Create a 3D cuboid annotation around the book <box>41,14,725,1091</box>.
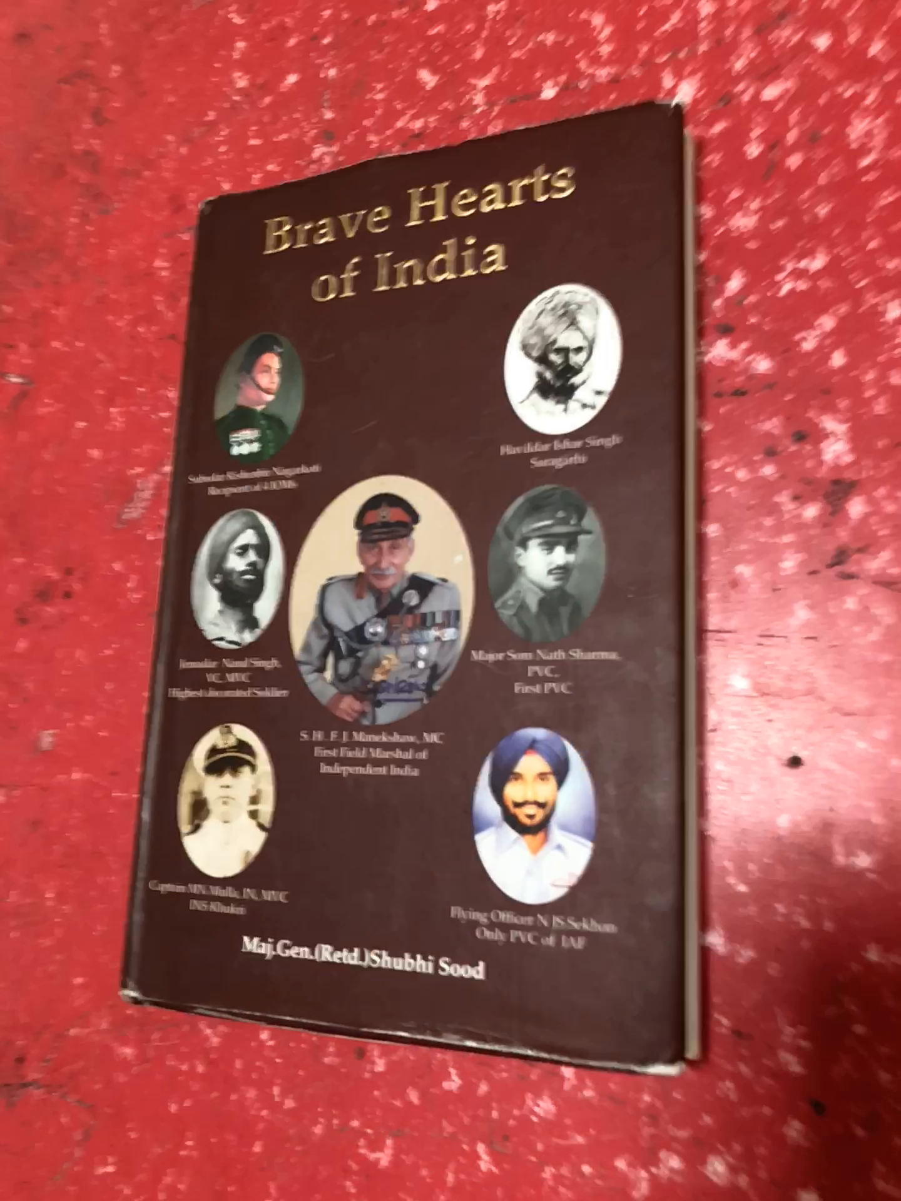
[{"bbox_3d":[-0.015,-0.015,0.241,0.151,0.030,0.220,-3,77,23],"label":"book"}]
